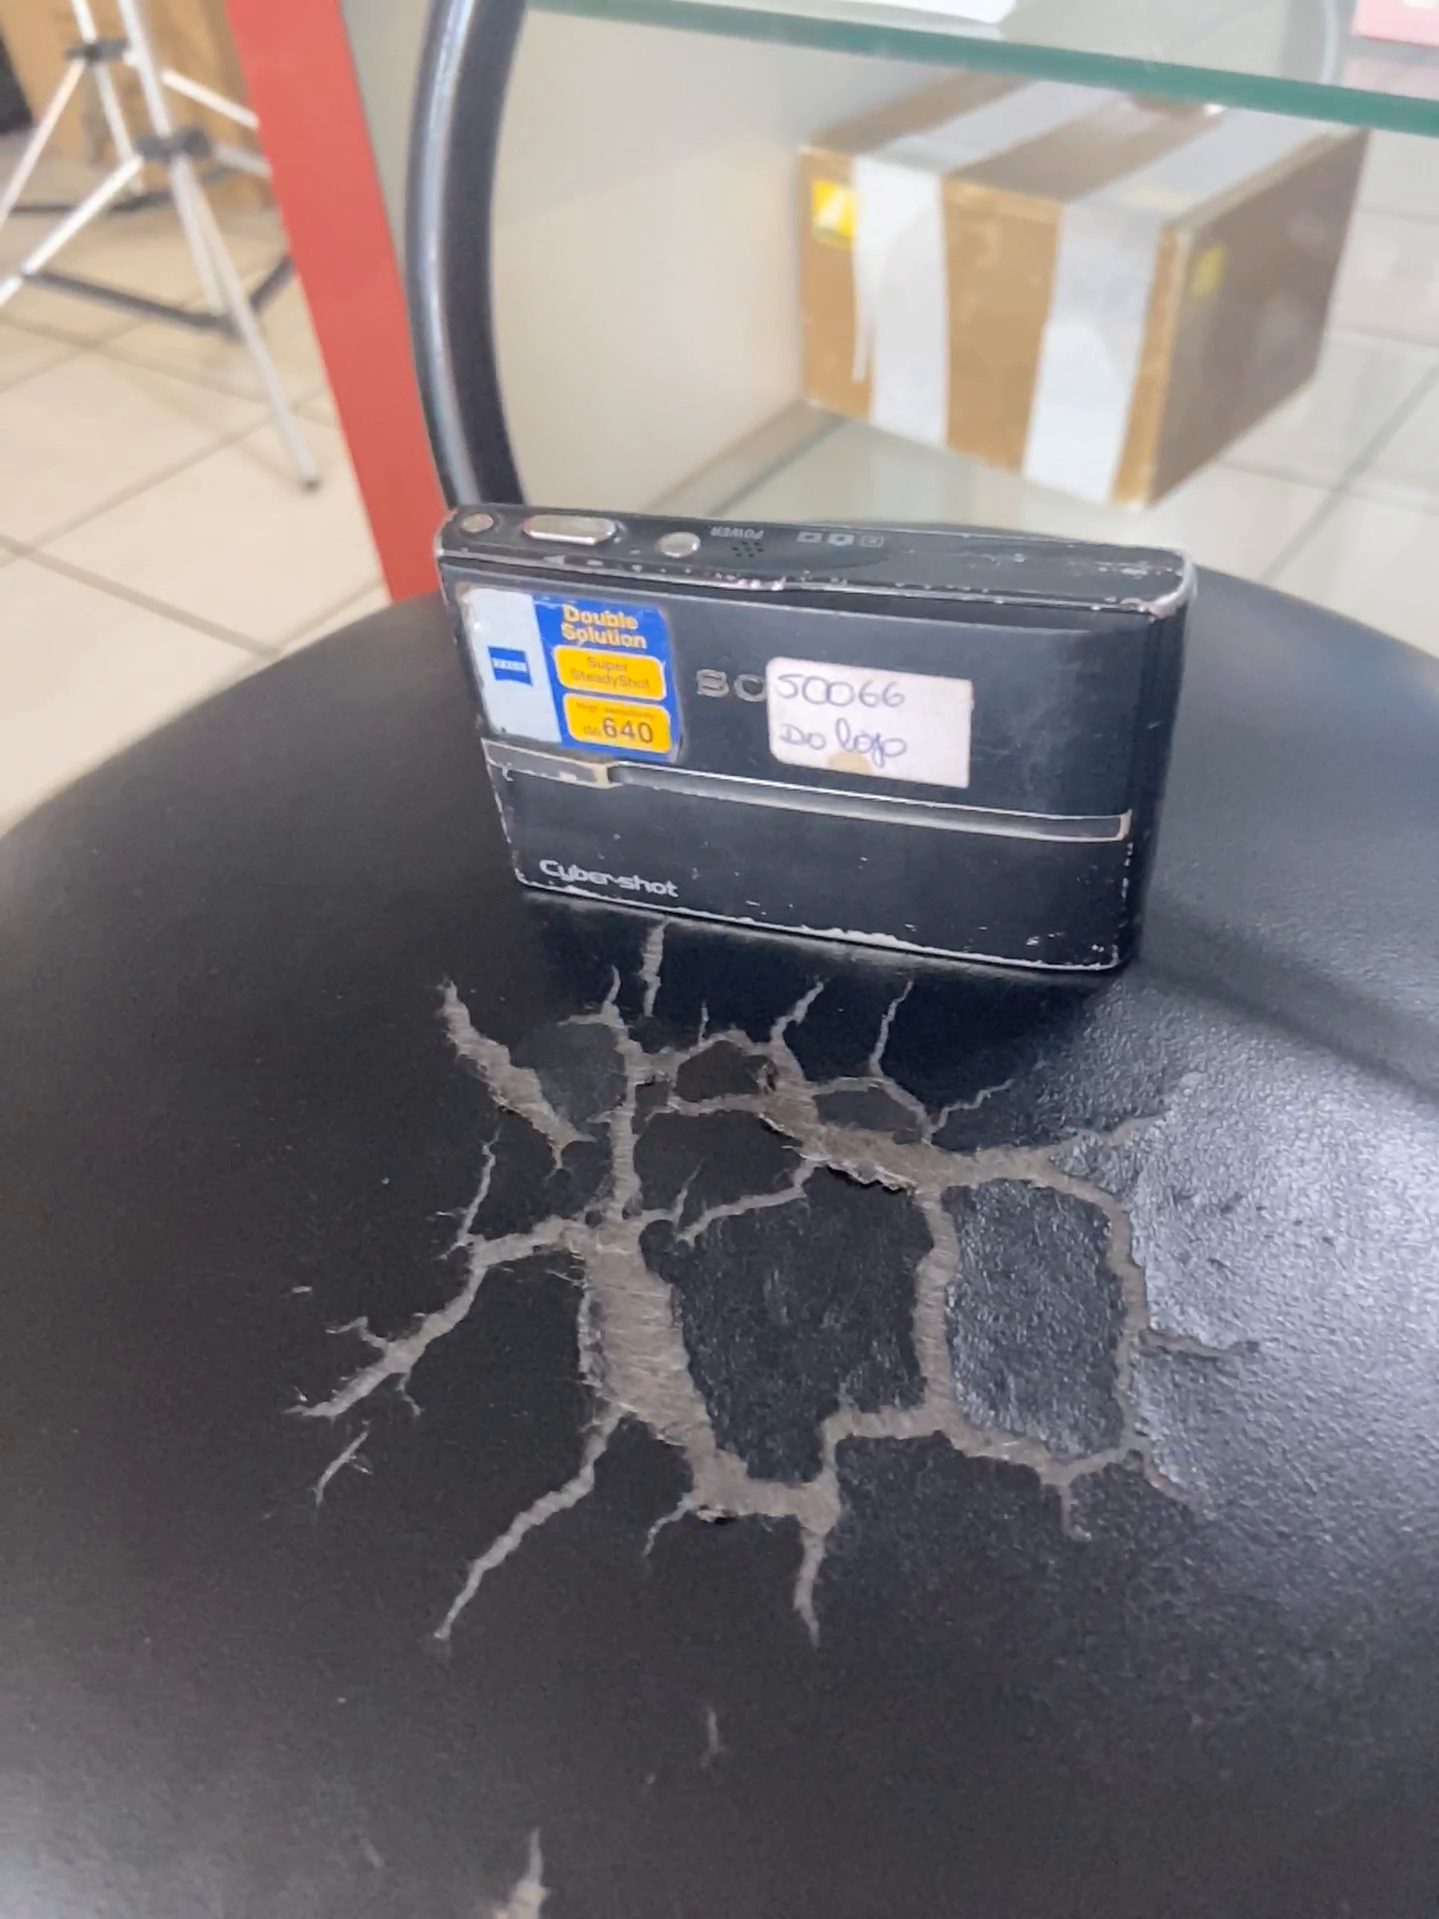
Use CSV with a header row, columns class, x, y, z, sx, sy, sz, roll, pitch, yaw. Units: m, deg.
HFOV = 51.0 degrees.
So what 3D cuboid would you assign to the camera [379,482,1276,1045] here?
class,x,y,z,sx,sy,sz,roll,pitch,yaw
camera,0.013,-0.025,0.192,0.100,0.060,0.020,9,46,15
